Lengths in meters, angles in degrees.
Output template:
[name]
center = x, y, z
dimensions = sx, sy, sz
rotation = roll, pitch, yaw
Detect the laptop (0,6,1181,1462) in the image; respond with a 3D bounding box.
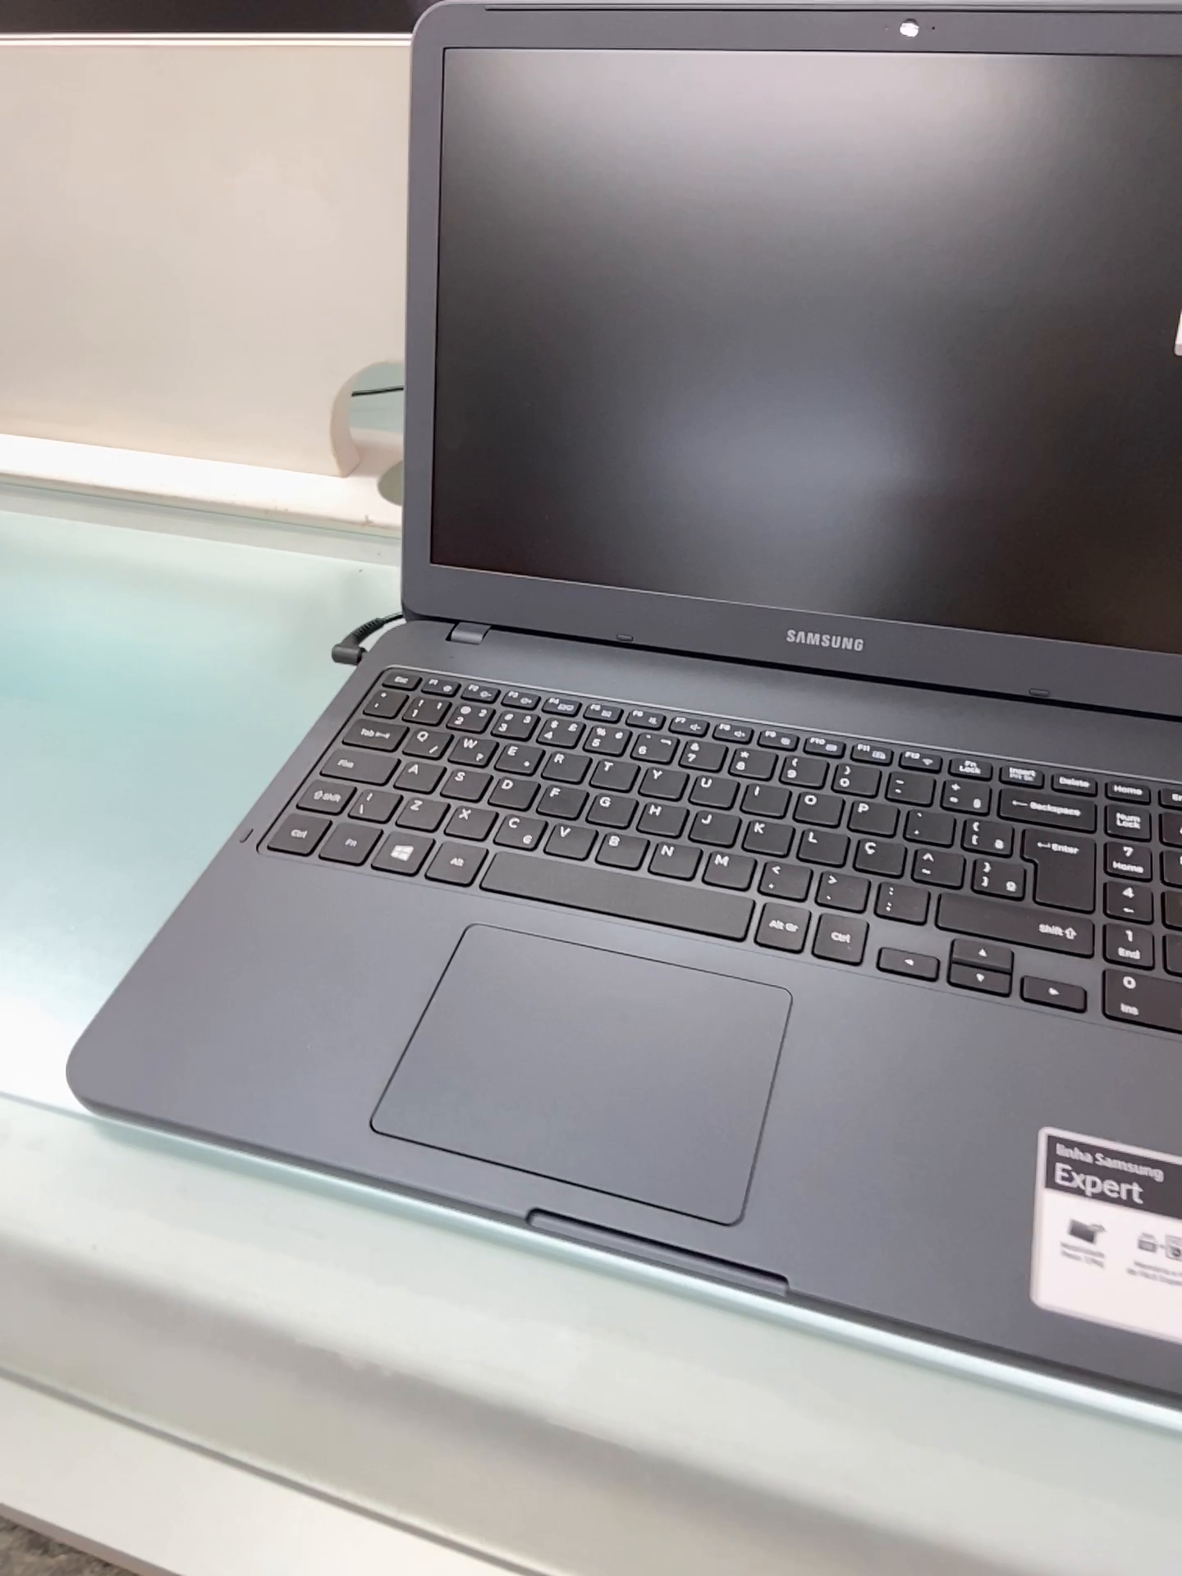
[laptop]
center = 0.061, -0.073, 0.360
dimensions = 0.363, 0.208, 0.343
rotation = 10, 44, 16
